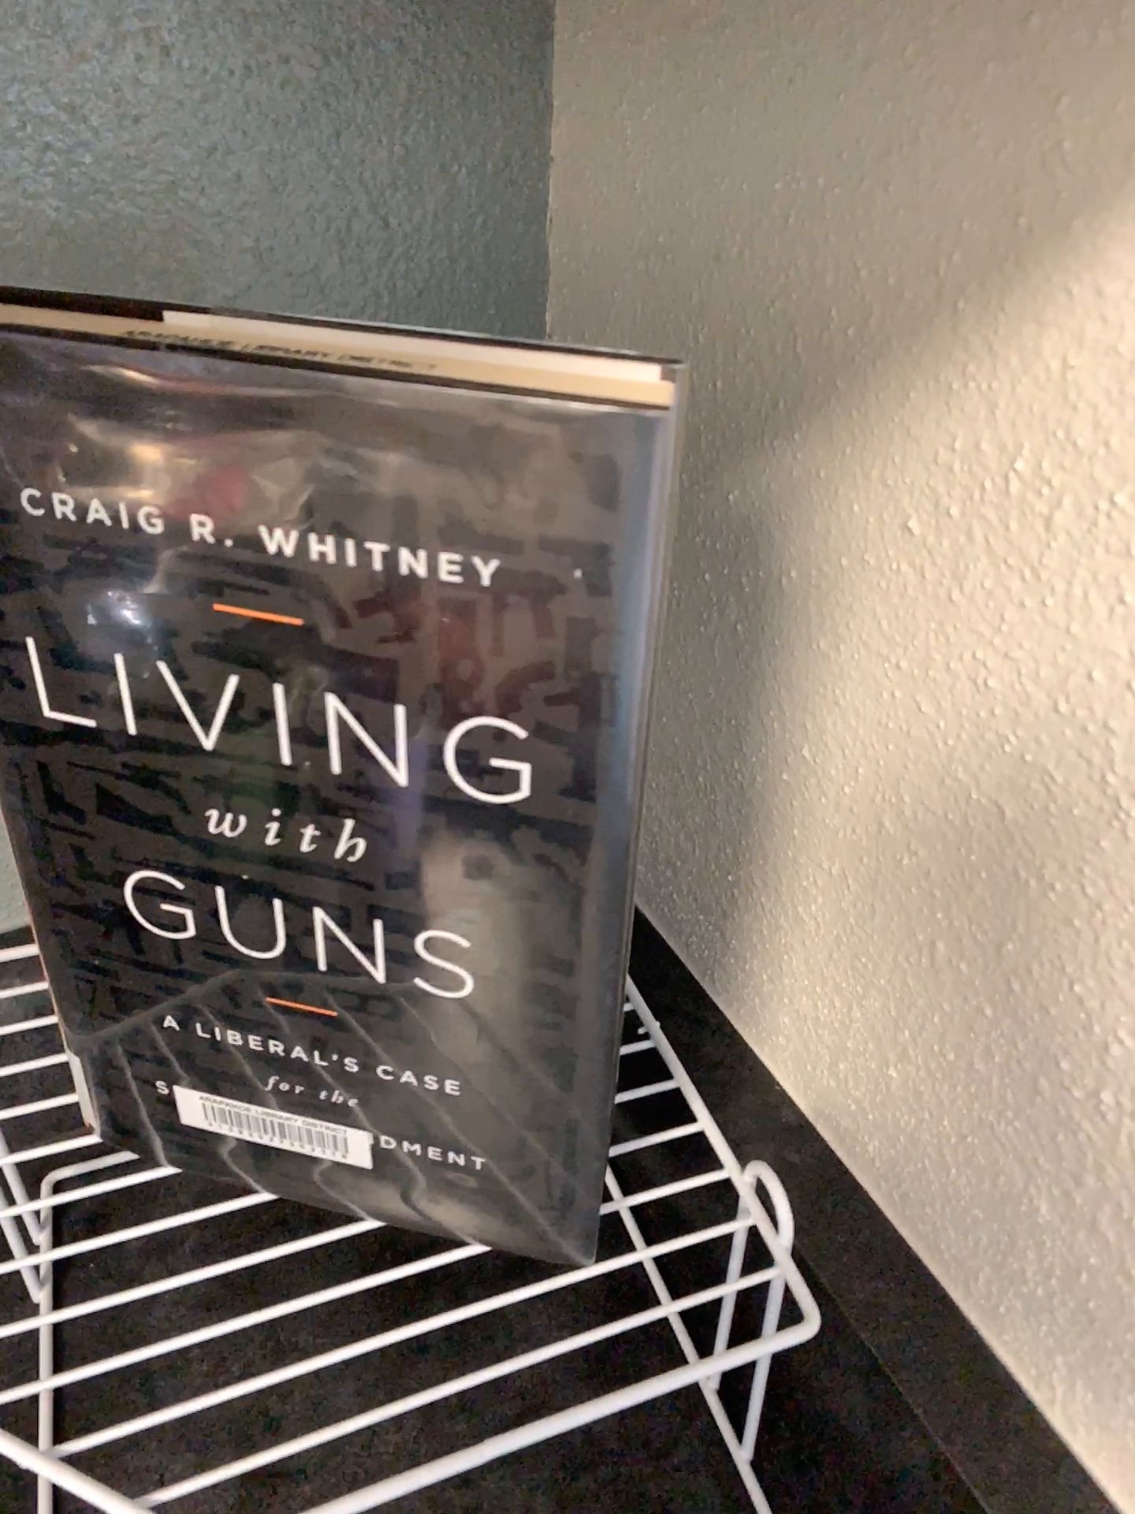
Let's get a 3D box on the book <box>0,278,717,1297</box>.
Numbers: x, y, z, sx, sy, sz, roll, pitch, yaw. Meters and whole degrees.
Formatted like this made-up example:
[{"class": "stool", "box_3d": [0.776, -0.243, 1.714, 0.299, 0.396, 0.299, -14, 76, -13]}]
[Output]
[{"class": "book", "box_3d": [-0.062, 0.015, 0.280, 0.171, 0.229, 0.040, 9, 29, 13]}]
